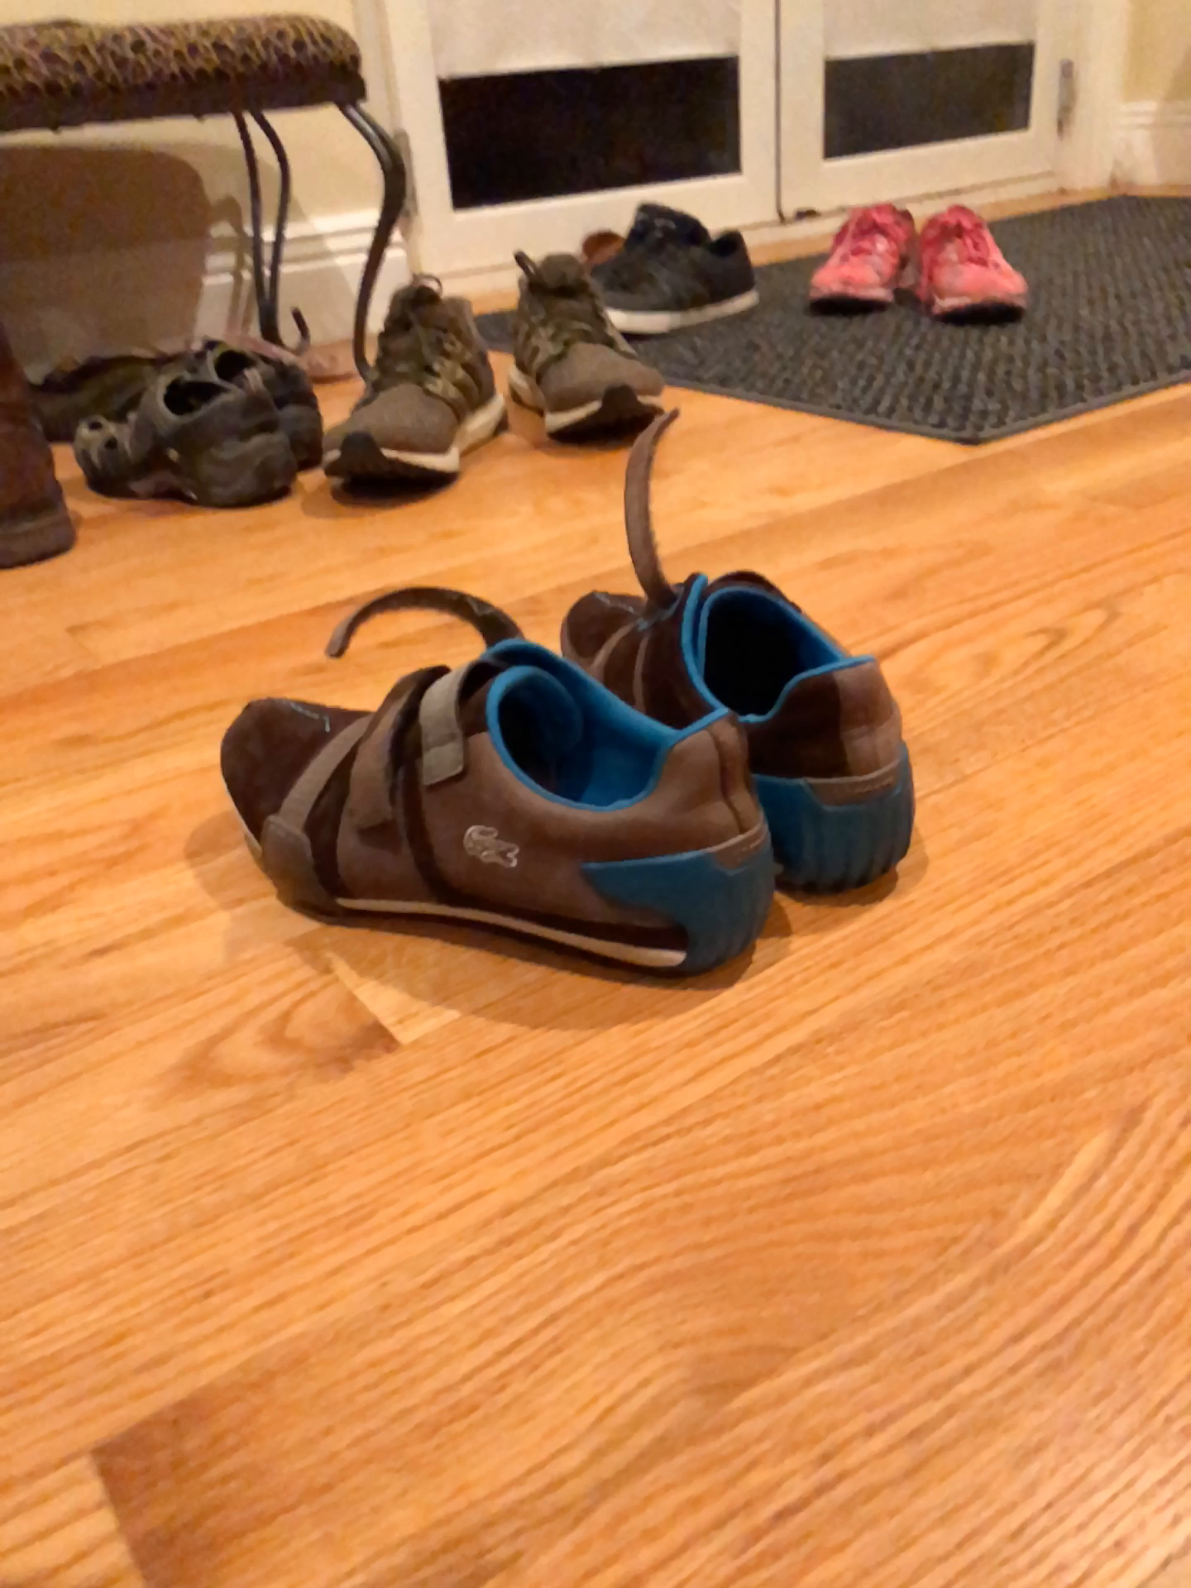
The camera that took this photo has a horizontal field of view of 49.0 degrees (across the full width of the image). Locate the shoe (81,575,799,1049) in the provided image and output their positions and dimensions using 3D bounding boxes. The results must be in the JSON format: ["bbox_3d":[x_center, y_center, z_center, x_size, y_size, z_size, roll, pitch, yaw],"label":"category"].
[{"bbox_3d":[-0.062,-0.008,0.496,0.255,0.092,0.102,14,33,32],"label":"shoe"}]

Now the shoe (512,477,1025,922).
[{"bbox_3d":[0.059,-0.059,0.575,0.102,0.091,0.256,-15,30,-18],"label":"shoe"}]
